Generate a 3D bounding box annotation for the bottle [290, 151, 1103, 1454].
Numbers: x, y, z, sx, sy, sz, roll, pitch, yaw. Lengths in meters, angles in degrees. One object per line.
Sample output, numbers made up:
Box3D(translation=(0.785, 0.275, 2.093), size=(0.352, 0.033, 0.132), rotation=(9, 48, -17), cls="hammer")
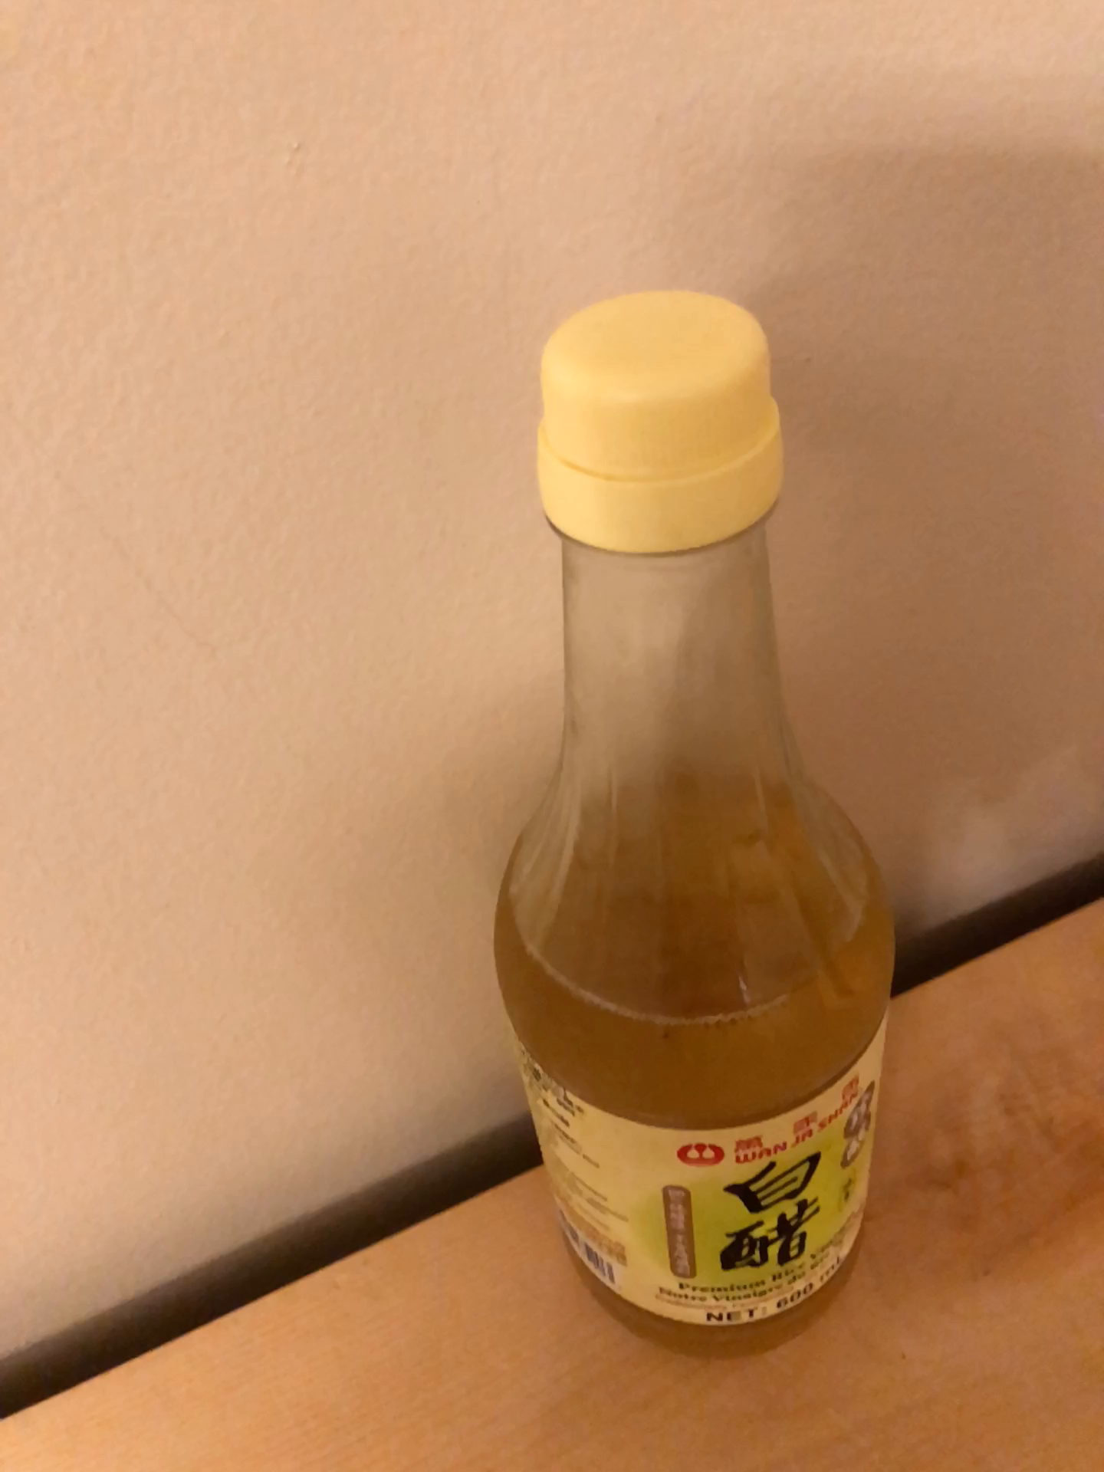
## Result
Box3D(translation=(0.030, 0.035, 0.231), size=(0.080, 0.238, 0.081), rotation=(-6, 42, 5), cls="bottle")
